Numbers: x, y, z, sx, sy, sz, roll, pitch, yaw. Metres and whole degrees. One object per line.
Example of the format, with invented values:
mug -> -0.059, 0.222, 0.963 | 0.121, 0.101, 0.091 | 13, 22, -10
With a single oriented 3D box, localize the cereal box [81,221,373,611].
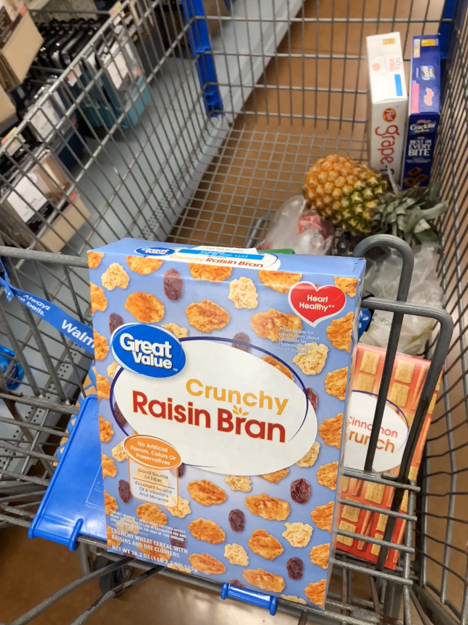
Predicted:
cereal box -> -0.008, 0.079, 0.418 | 0.200, 0.280, 0.070 | 7, 19, 14
